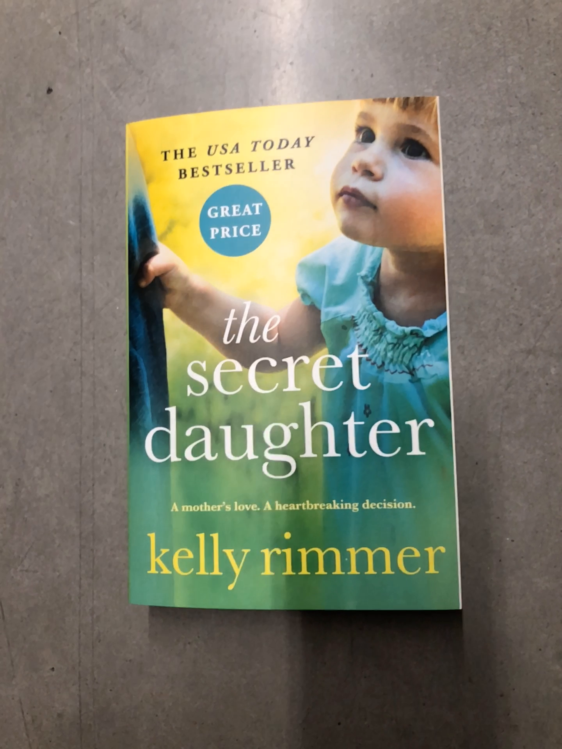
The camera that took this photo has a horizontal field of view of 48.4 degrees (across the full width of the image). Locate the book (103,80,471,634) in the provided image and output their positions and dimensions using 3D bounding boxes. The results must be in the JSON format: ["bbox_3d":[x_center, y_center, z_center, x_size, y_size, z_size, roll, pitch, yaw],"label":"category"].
[{"bbox_3d":[-0.001,-0.007,0.260,0.140,0.030,0.210,-2,85,8],"label":"book"}]
